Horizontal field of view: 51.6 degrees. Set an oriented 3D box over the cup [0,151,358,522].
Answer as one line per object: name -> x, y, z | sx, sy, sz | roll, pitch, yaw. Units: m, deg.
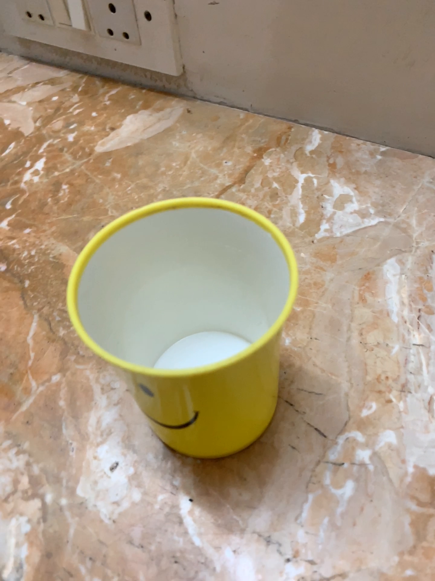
cup -> -0.018, 0.016, 0.176 | 0.110, 0.089, 0.070 | 22, 57, 23
